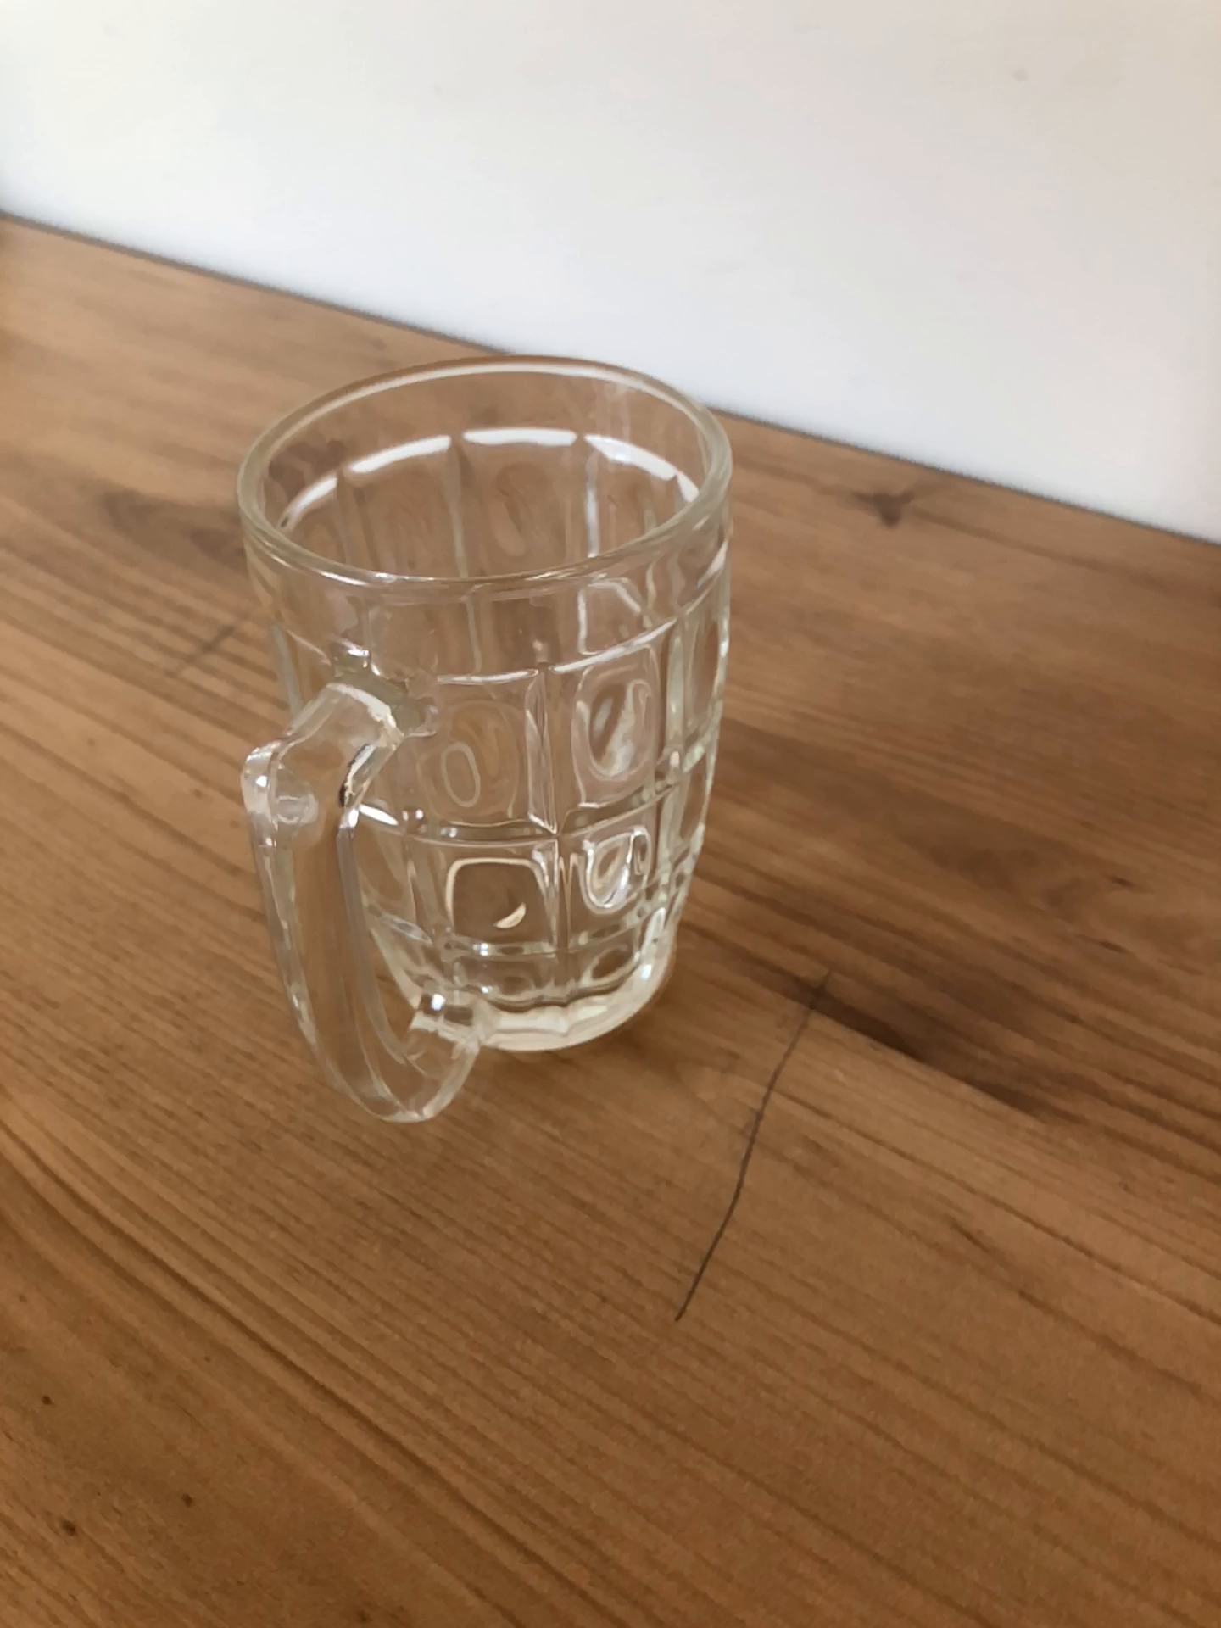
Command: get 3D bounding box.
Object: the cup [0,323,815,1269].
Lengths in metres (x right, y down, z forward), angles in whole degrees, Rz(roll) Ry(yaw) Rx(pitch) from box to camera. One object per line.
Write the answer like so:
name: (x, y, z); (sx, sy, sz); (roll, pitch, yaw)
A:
cup: (-0.025, -0.012, 0.244); (0.088, 0.102, 0.120); (13, 42, 20)
